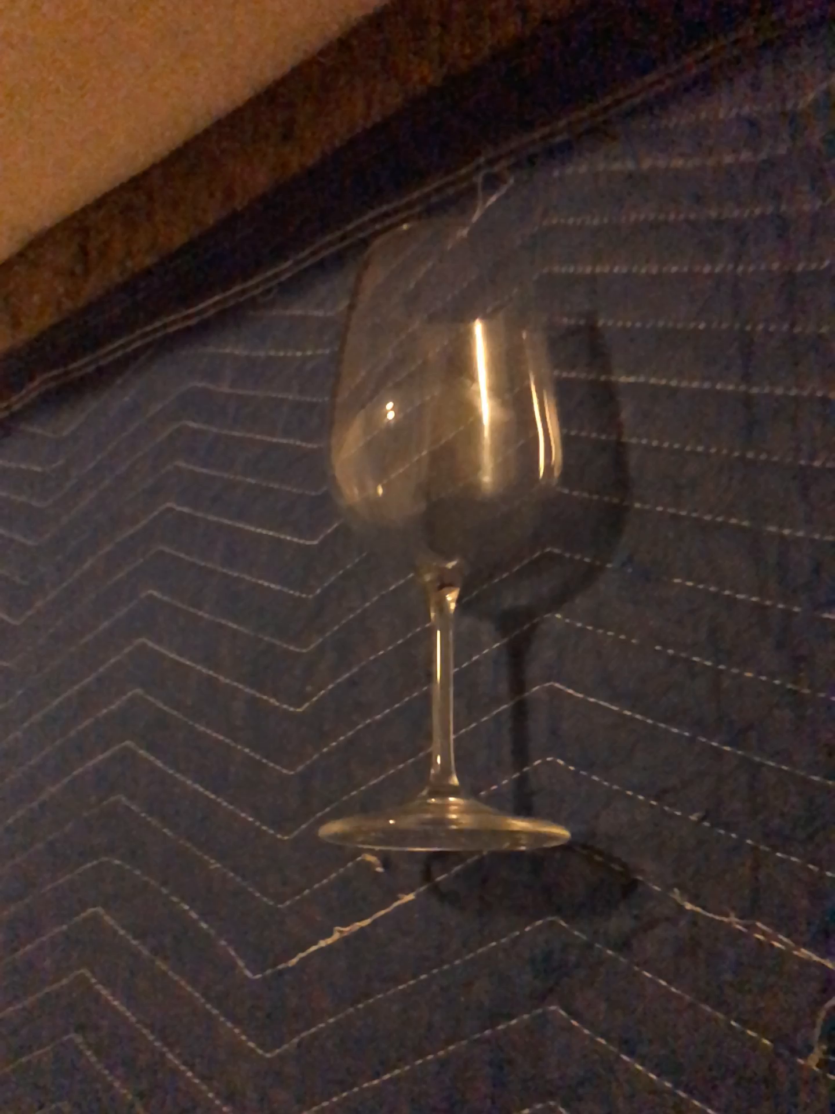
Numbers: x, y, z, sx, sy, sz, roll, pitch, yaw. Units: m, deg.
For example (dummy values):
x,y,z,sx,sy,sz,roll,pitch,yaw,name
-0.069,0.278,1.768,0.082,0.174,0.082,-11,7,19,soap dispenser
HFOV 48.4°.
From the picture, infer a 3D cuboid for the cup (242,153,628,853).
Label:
x,y,z,sx,sy,sz,roll,pitch,yaw,name
0.010,-0.013,0.320,0.080,0.090,0.210,-14,63,33,cup
